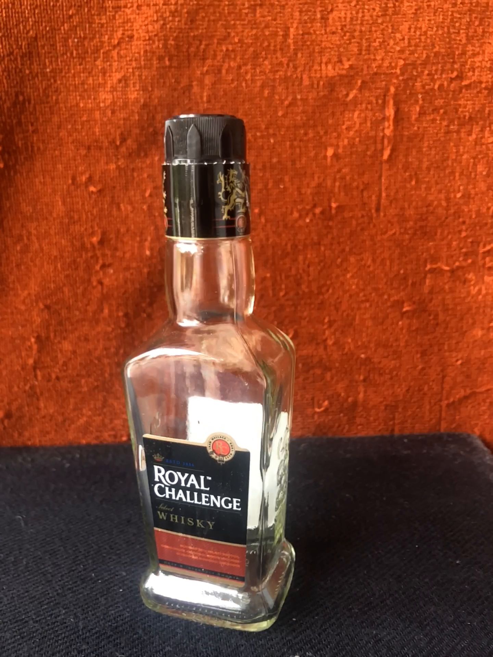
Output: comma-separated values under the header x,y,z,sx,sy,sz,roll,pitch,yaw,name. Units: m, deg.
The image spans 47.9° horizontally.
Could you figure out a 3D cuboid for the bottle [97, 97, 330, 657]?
x,y,z,sx,sy,sz,roll,pitch,yaw,name
-0.009,0.021,0.201,0.060,0.189,0.050,6,17,15,bottle
